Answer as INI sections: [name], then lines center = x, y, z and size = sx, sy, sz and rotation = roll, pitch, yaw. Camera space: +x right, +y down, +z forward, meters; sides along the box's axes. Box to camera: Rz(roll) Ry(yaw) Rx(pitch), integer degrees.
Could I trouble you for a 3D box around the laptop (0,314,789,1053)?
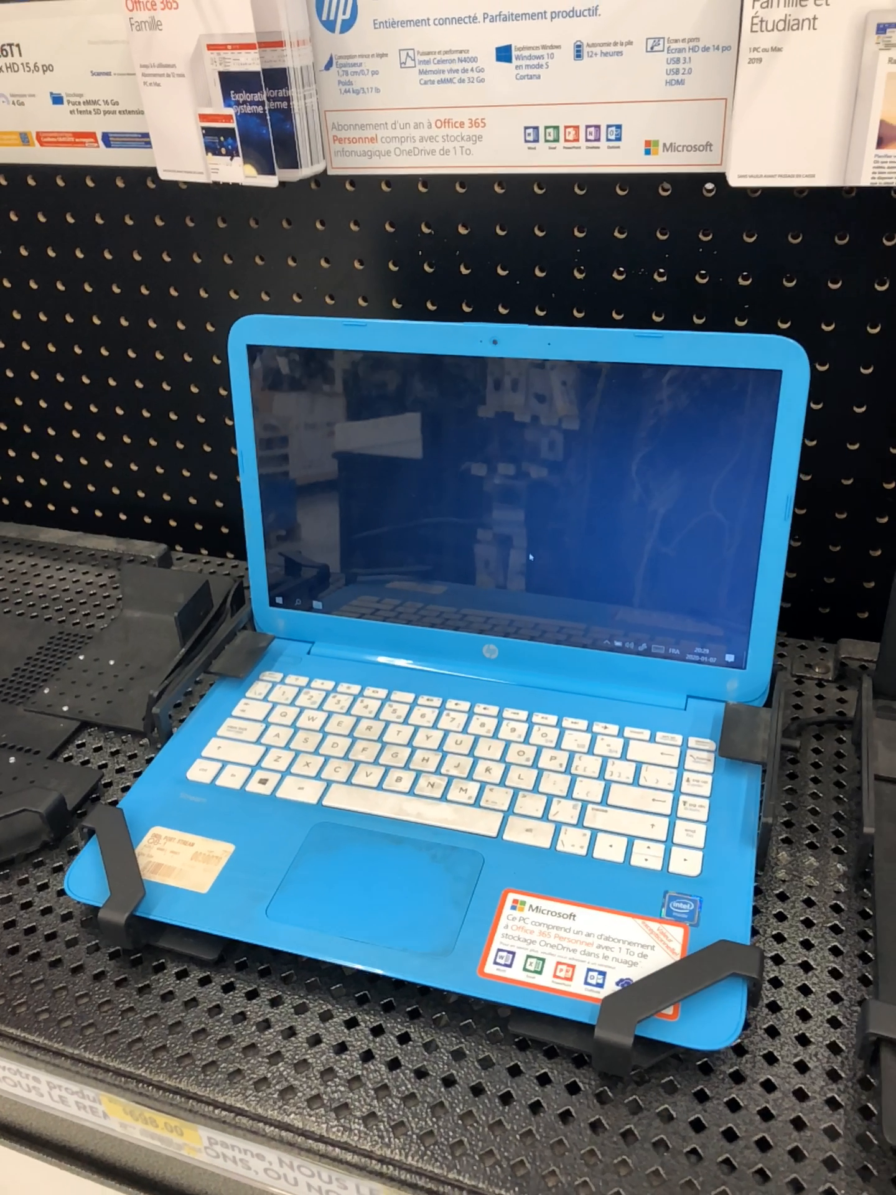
[laptop]
center = -0.008, 0.006, 0.501
size = 0.319, 0.197, 0.270
rotation = 7, 36, 18
